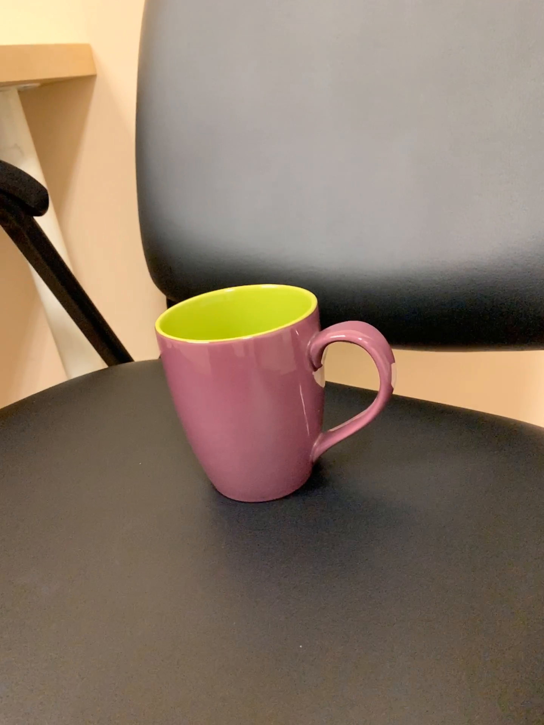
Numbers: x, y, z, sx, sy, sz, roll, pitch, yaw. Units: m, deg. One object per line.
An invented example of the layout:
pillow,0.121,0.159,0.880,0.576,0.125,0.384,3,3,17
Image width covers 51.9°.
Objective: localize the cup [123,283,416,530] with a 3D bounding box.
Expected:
cup,0.006,0.019,0.347,0.144,0.109,0.090,3,28,24
